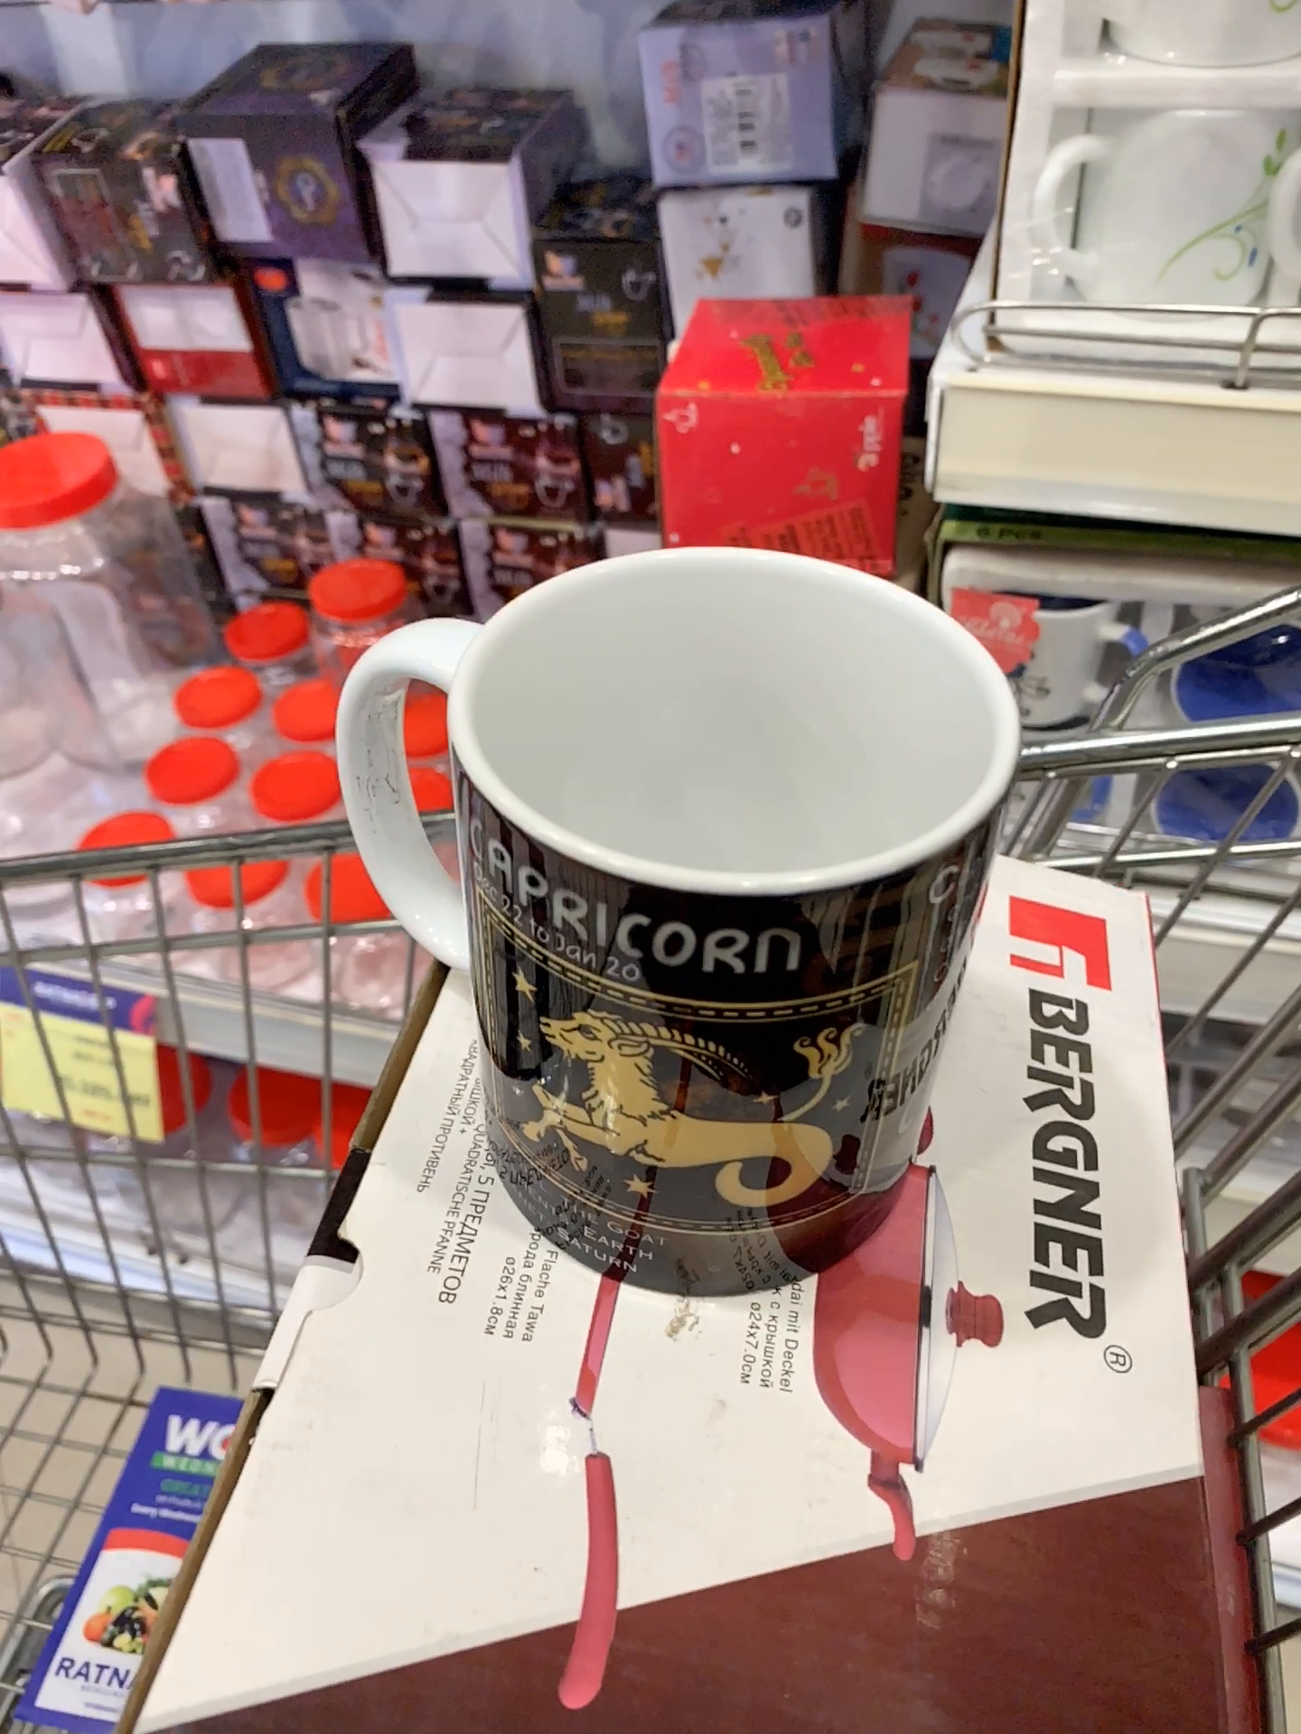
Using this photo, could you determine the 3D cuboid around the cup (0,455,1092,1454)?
[{"bbox_3d":[-0.012,0.008,0.206,0.120,0.090,0.080,18,47,18],"label":"cup"}]
